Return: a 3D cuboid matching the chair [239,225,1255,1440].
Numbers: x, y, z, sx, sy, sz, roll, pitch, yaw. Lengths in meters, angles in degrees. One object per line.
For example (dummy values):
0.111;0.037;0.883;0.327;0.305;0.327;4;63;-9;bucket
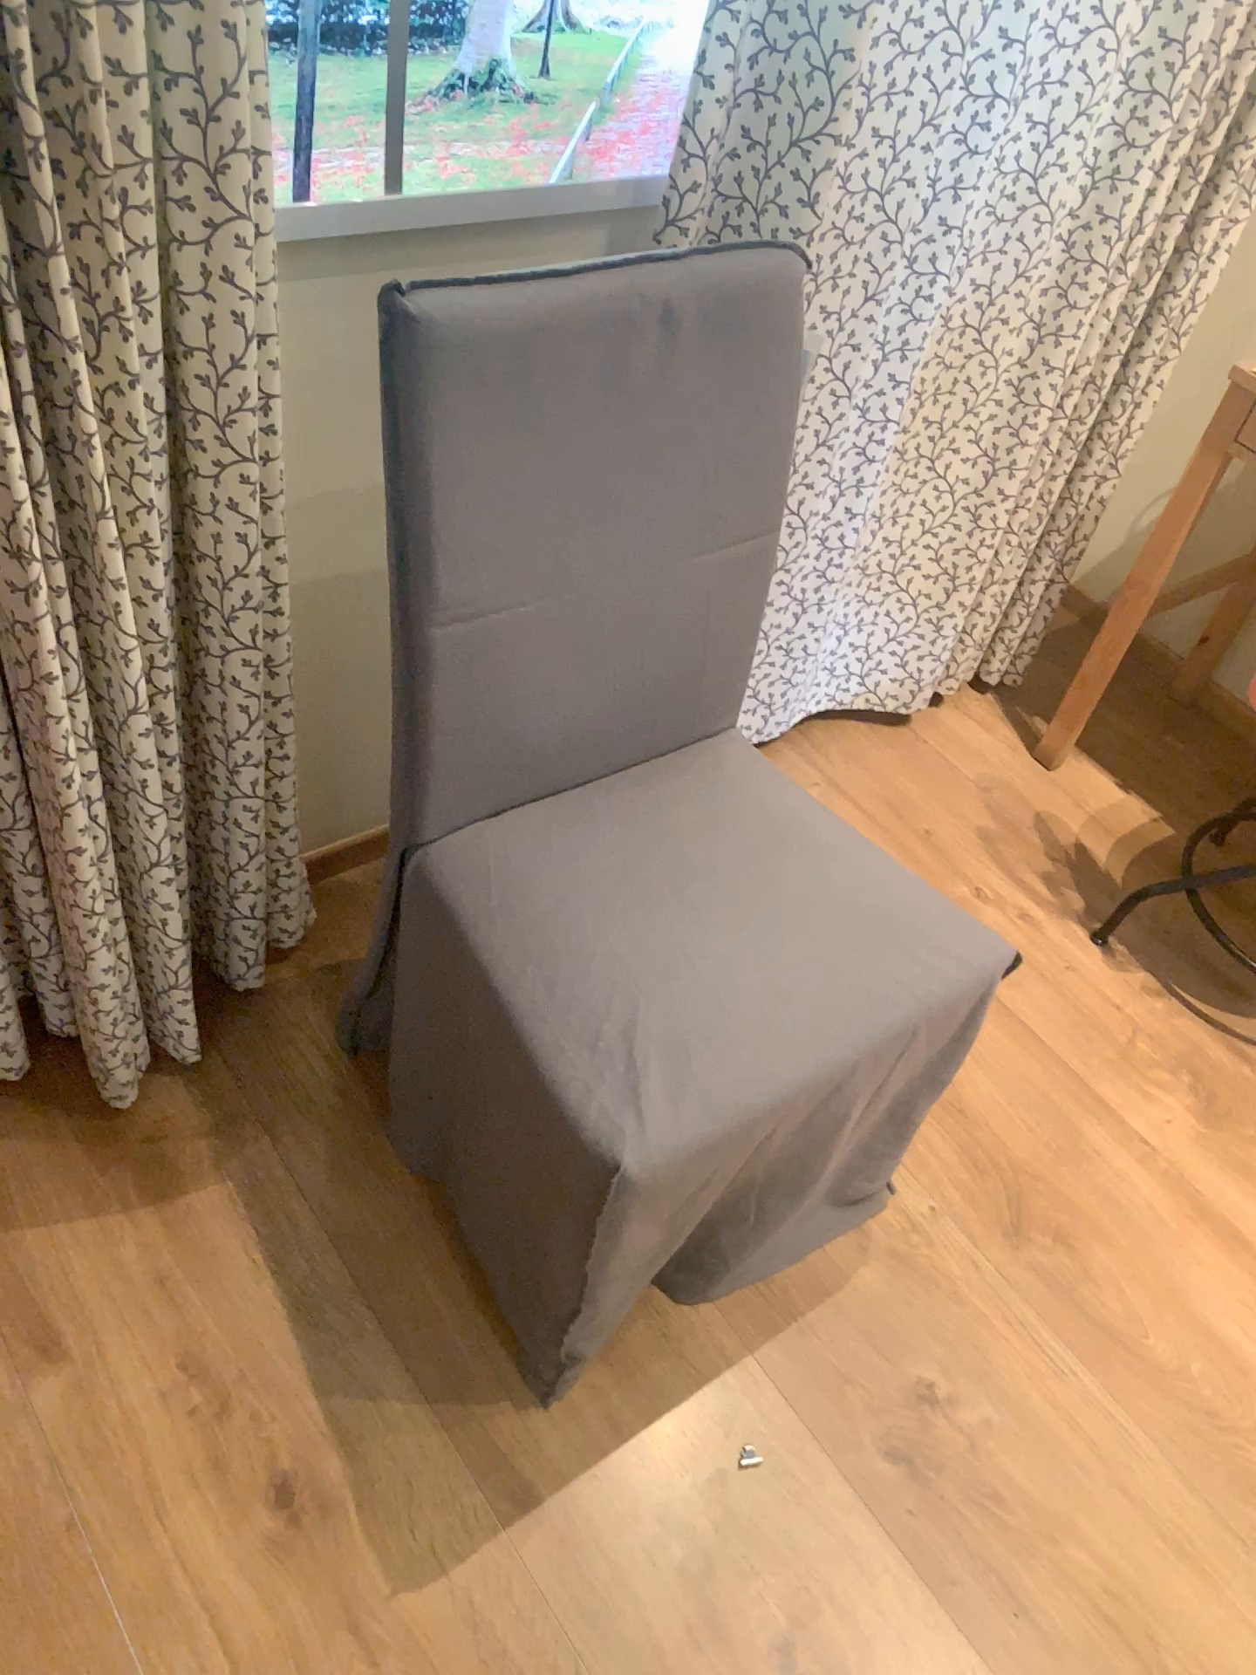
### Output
0.044;-0.001;1.236;0.571;0.877;0.591;-22;54;-31;chair
